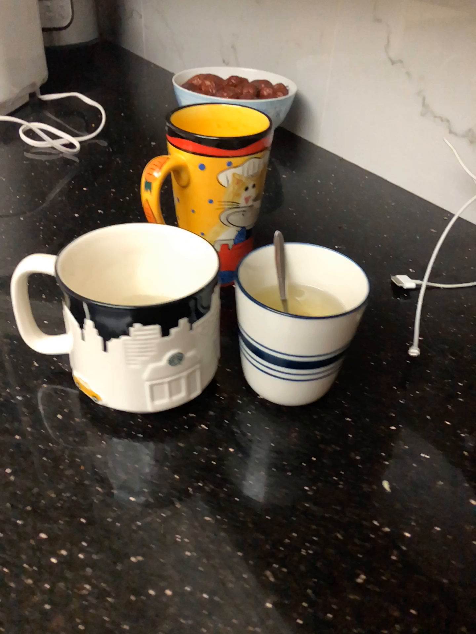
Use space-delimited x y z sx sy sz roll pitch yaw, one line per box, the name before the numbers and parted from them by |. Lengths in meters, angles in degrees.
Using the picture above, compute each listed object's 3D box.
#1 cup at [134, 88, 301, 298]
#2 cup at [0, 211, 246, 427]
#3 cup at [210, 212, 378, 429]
cup | -0.018 -0.106 0.439 0.080 0.129 0.100 32 46 31
cup | -0.081 -0.005 0.368 0.150 0.070 0.121 9 38 7
cup | 0.041 -0.004 0.366 0.080 0.080 0.121 15 39 13
